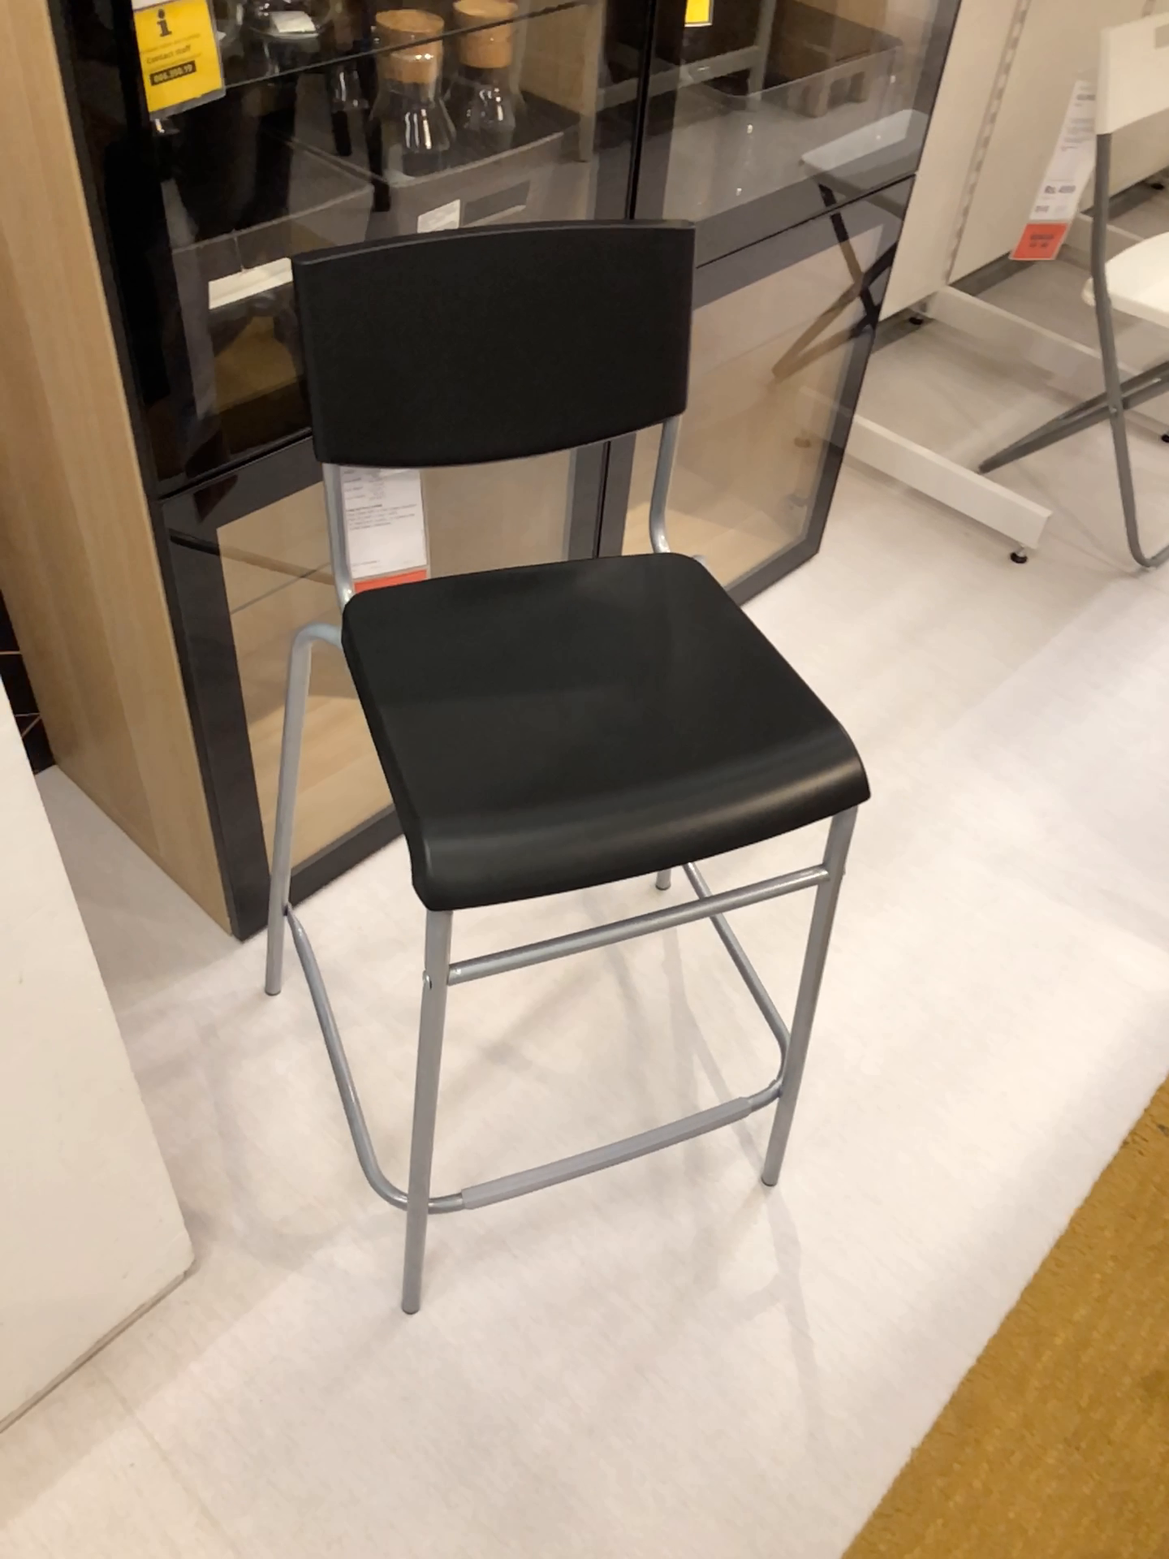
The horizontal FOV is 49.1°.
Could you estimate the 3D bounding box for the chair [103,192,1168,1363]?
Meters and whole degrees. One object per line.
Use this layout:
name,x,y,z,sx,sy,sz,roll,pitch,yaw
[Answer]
chair,-0.017,0.018,1.066,0.541,0.765,0.483,-12,49,-17
